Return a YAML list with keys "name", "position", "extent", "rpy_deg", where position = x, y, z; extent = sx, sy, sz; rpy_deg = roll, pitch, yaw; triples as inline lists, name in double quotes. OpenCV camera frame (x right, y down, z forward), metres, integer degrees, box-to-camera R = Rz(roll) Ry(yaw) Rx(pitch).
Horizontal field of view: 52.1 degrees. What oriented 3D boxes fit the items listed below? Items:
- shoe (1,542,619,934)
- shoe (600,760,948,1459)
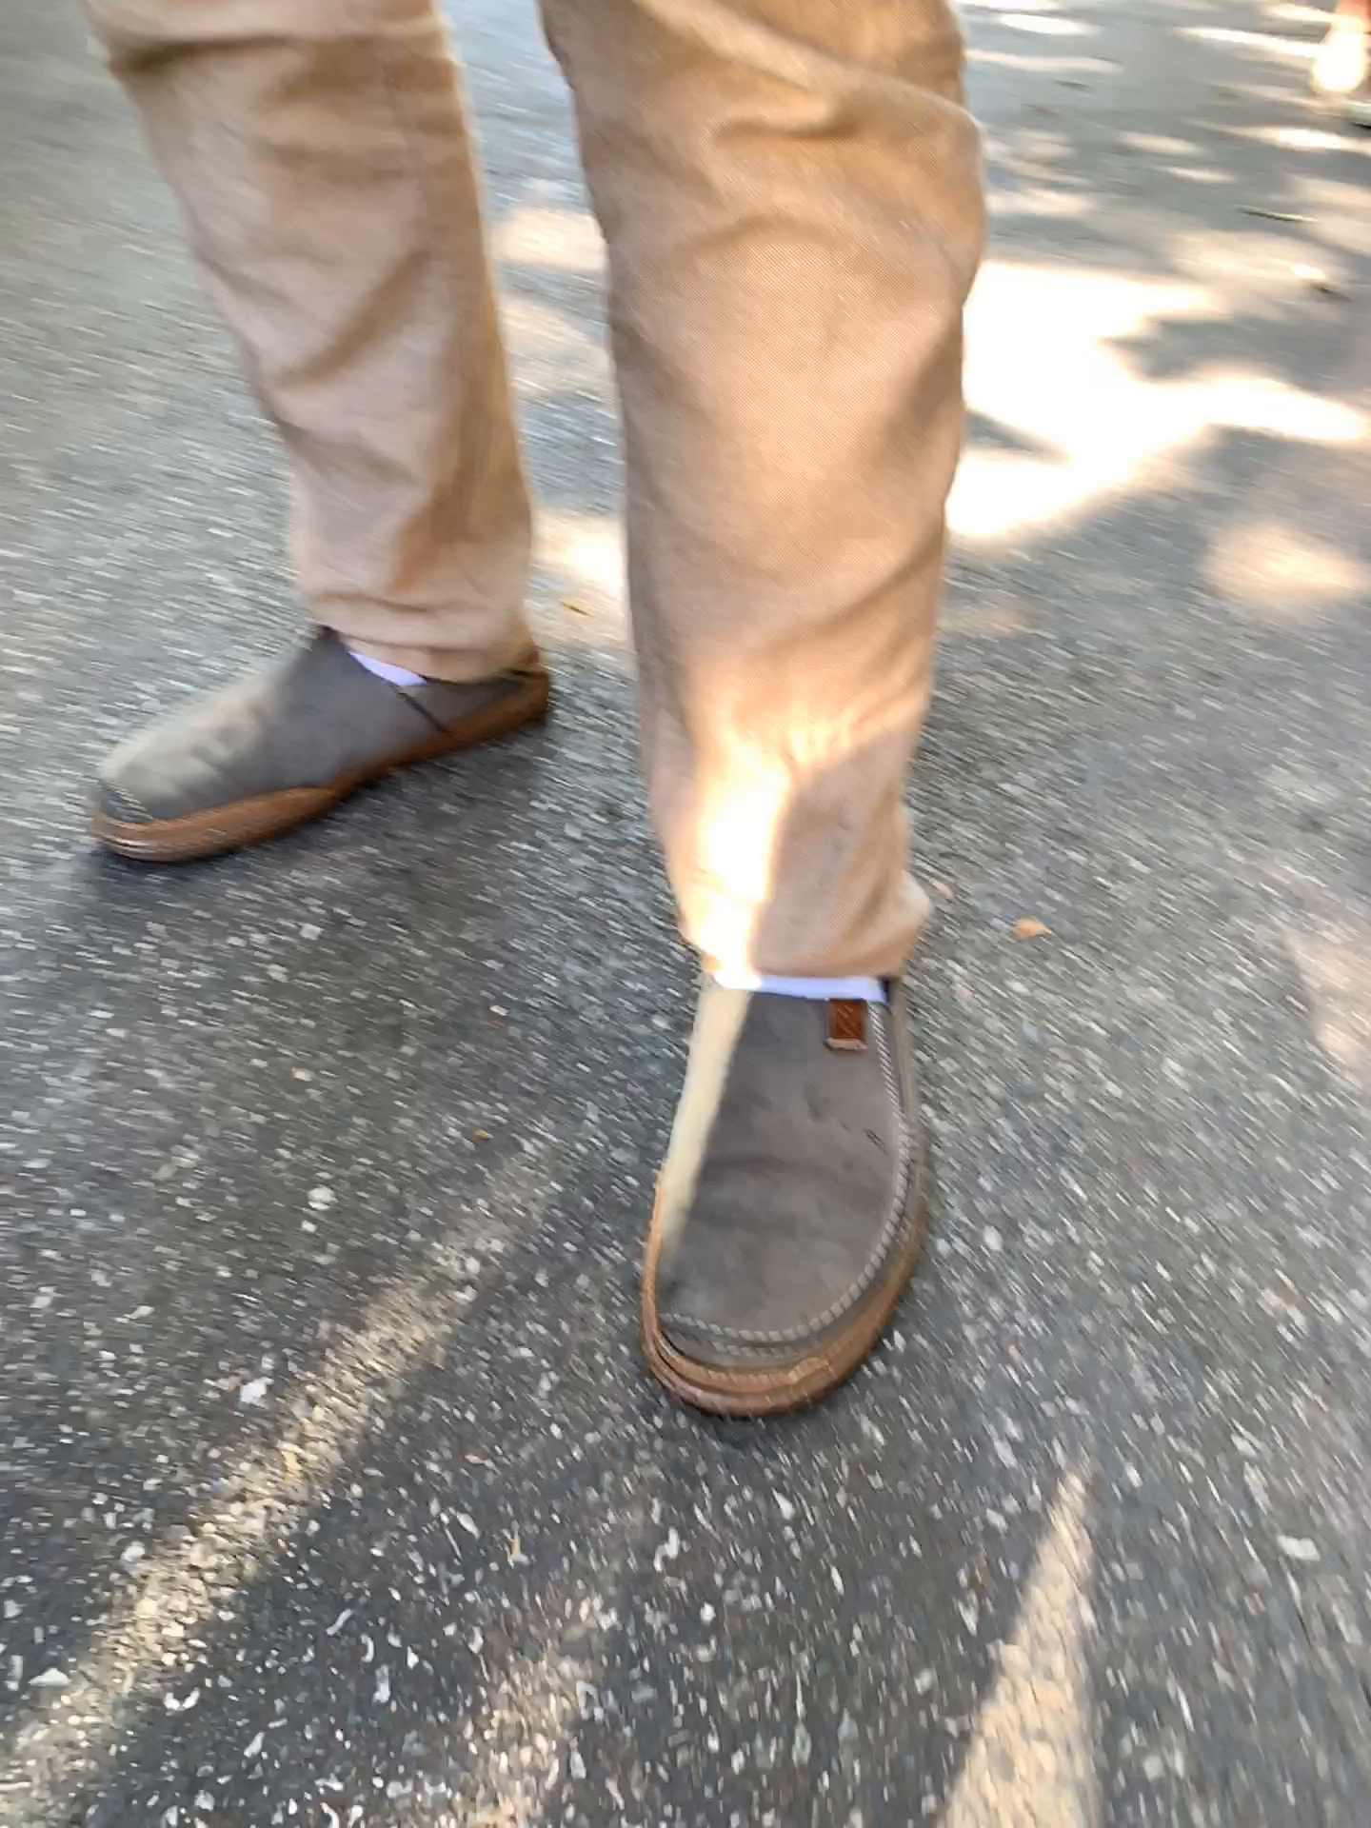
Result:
- name: "shoe"
  position: [-0.200, -0.114, 0.801]
  extent: [0.320, 0.060, 0.121]
  rpy_deg: [-31, 51, -30]
- name: "shoe"
  position: [0.049, 0.064, 0.627]
  extent: [0.120, 0.080, 0.322]
  rpy_deg: [6, 43, 5]
